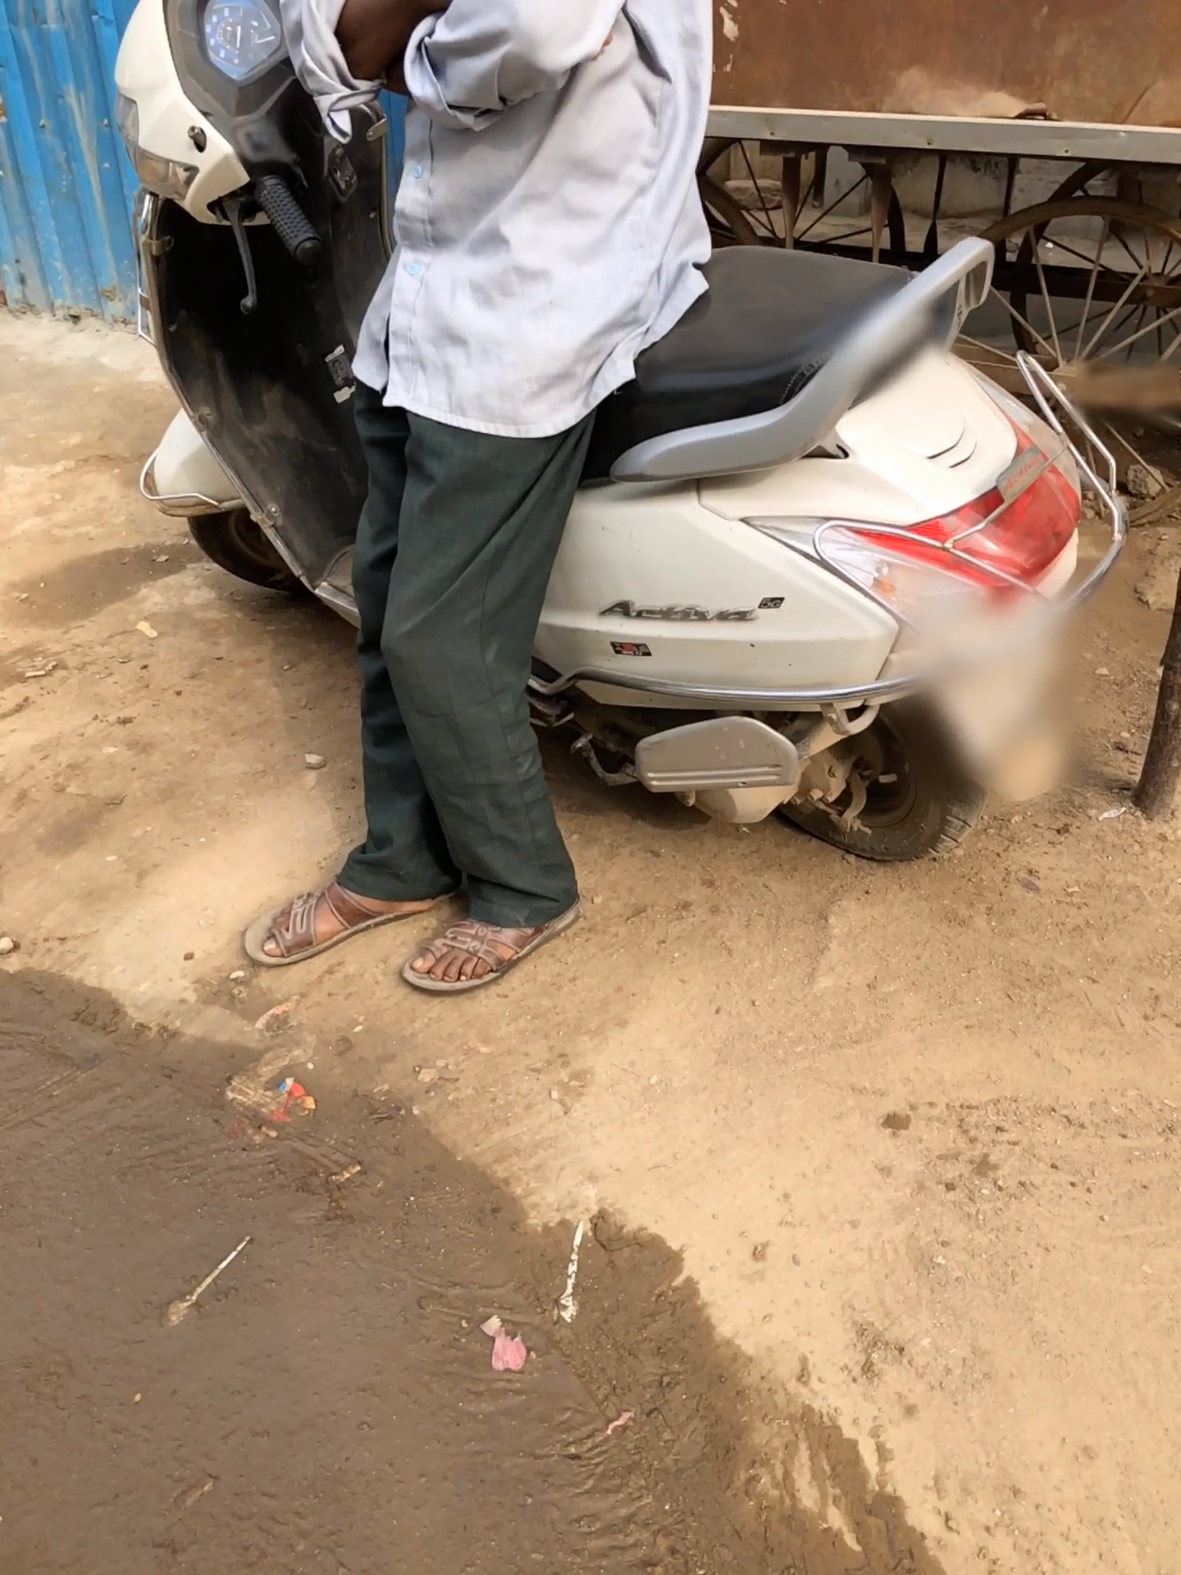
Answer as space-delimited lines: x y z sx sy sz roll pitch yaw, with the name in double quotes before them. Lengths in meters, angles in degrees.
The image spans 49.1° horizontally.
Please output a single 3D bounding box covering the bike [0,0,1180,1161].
"bike" -0.256 -0.448 1.718 1.576 1.112 0.659 22 40 33
